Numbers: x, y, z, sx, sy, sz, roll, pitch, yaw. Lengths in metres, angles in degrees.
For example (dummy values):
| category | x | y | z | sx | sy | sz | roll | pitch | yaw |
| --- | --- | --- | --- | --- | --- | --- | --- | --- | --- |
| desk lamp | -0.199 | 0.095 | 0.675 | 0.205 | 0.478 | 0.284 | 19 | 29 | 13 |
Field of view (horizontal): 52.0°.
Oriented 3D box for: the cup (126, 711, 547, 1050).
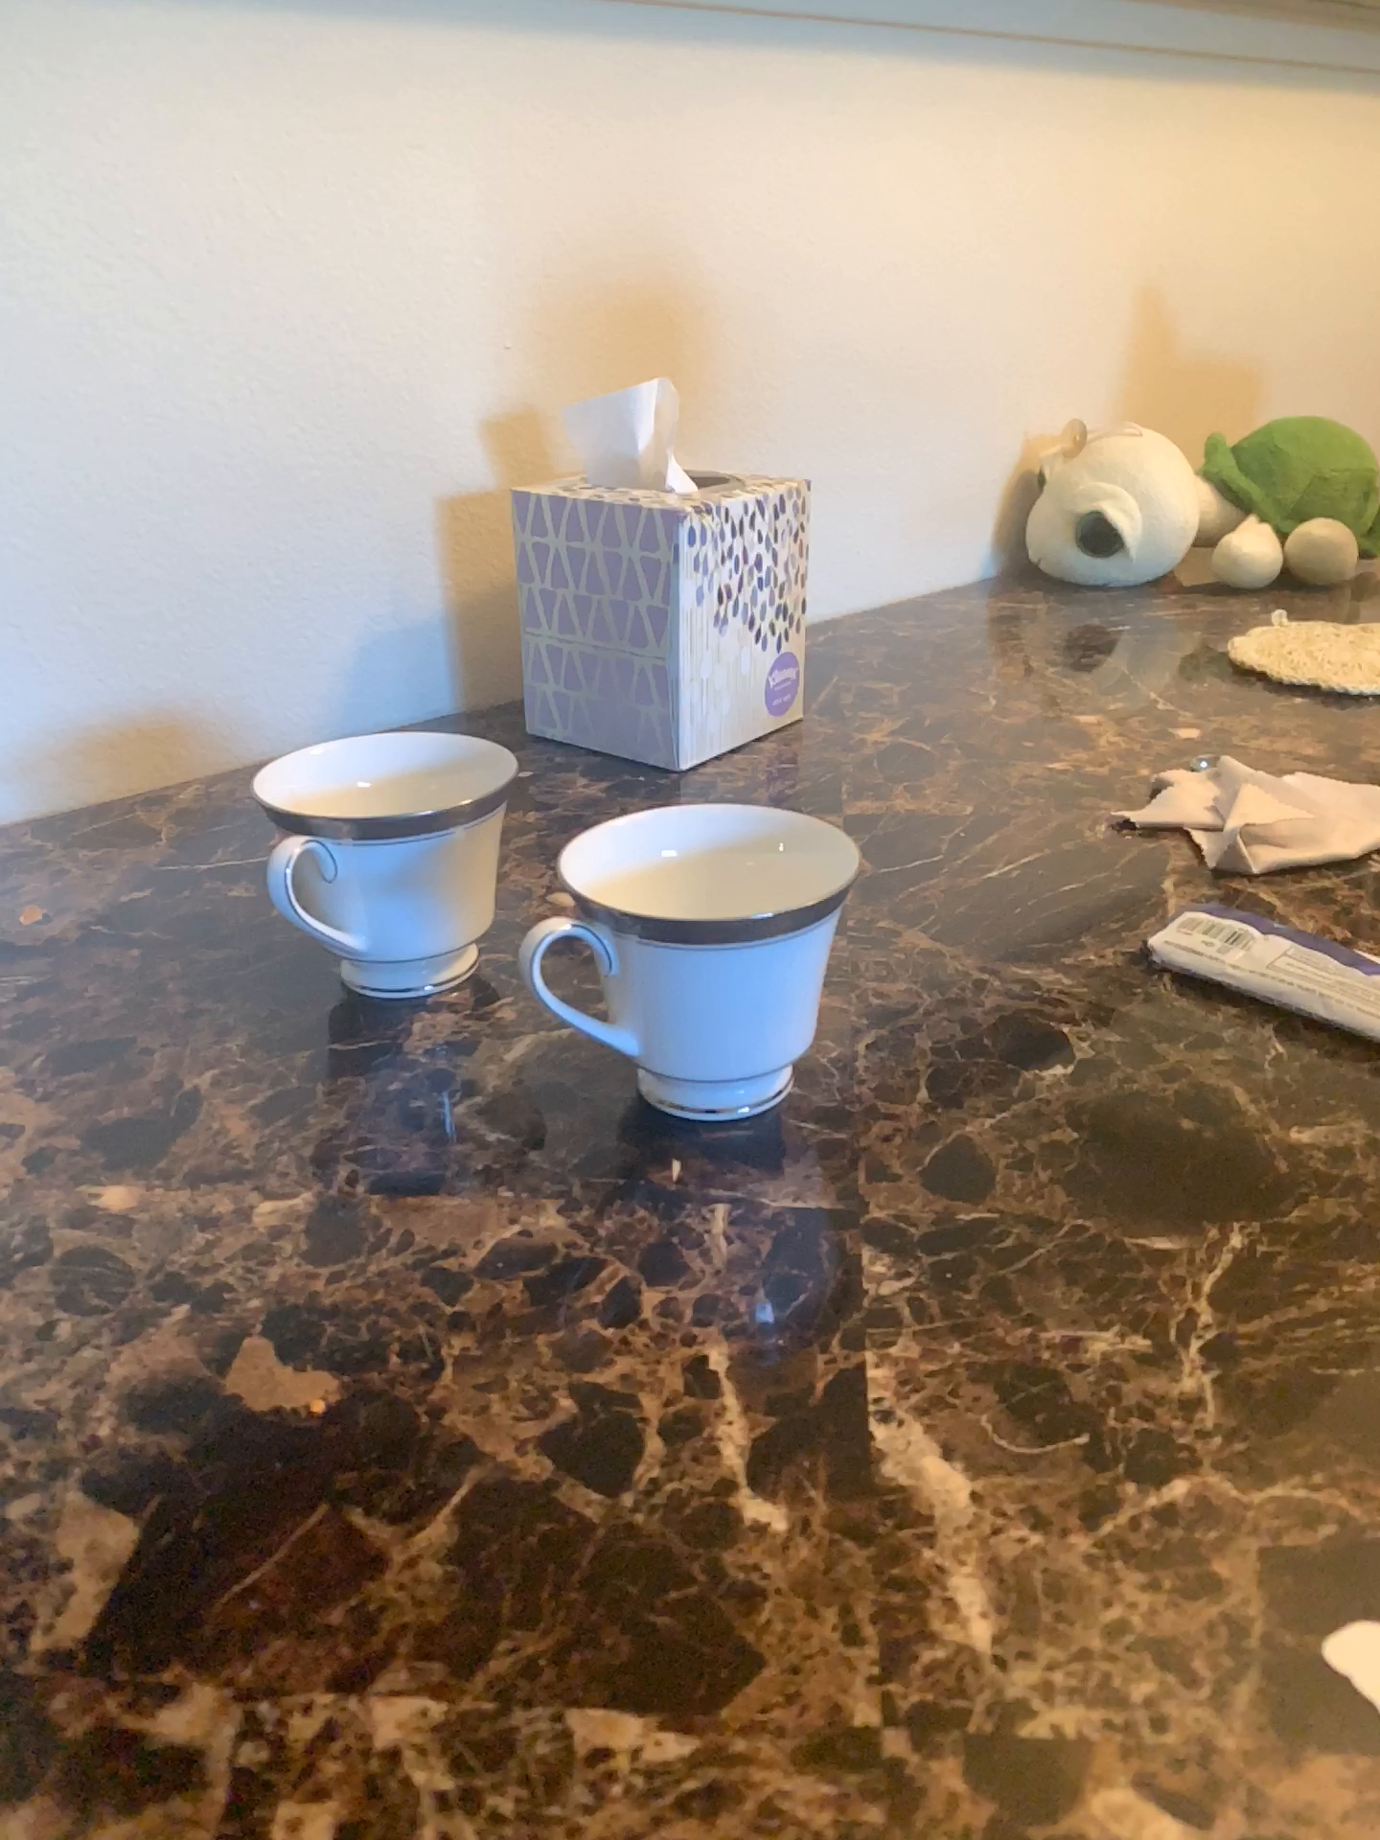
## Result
| category | x | y | z | sx | sy | sz | roll | pitch | yaw |
| --- | --- | --- | --- | --- | --- | --- | --- | --- | --- |
| cup | -0.112 | -0.019 | 0.479 | 0.090 | 0.070 | 0.111 | 5 | 26 | 14 |

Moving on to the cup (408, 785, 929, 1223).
| category | x | y | z | sx | sy | sz | roll | pitch | yaw |
| --- | --- | --- | --- | --- | --- | --- | --- | --- | --- |
| cup | -0.007 | 0.017 | 0.417 | 0.120 | 0.070 | 0.090 | -15 | 28 | -26 |
